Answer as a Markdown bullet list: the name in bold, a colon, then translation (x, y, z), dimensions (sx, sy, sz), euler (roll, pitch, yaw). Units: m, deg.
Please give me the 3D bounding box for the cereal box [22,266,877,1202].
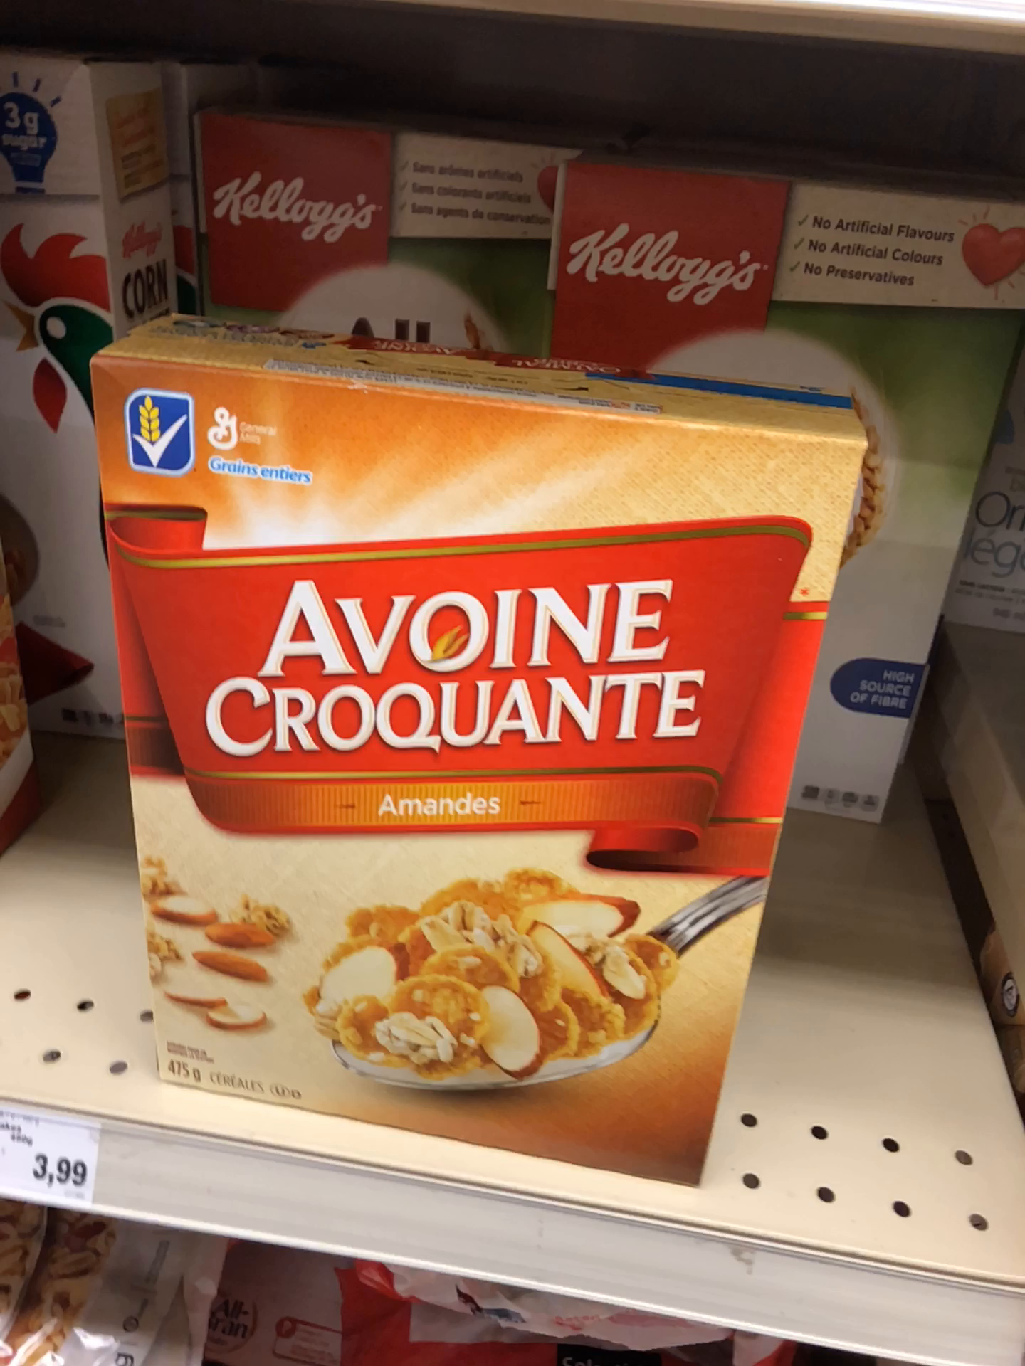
- **cereal box**: translation (-0.023, 0.028, 0.350), dimensions (0.200, 0.268, 0.060), euler (9, 30, 7)
